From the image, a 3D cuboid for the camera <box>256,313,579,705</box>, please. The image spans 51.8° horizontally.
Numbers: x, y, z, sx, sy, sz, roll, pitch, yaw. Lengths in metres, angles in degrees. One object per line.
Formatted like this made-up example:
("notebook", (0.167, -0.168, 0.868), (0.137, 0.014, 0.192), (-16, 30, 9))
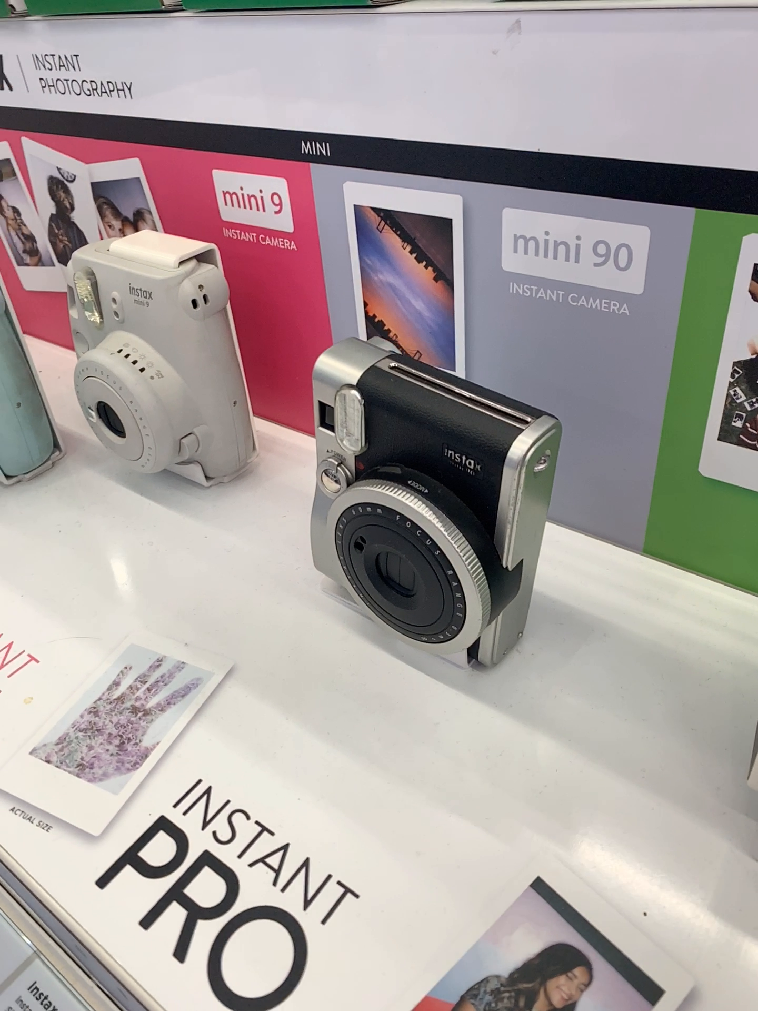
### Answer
("camera", (0.012, 0.000, 0.299), (0.101, 0.109, 0.050), (29, 49, 32))
